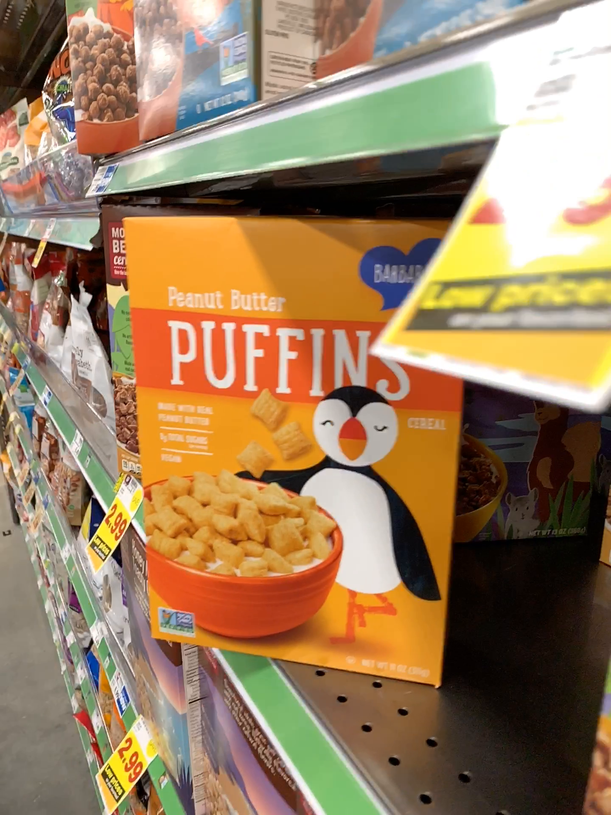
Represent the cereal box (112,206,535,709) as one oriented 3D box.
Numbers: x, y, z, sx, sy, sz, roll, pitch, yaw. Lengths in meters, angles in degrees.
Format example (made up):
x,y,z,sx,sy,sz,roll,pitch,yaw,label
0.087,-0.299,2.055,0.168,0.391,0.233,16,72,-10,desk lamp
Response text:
x,y,z,sx,sy,sz,roll,pitch,yaw,label
0.004,0.026,0.385,0.220,0.279,0.060,5,16,12,cereal box
